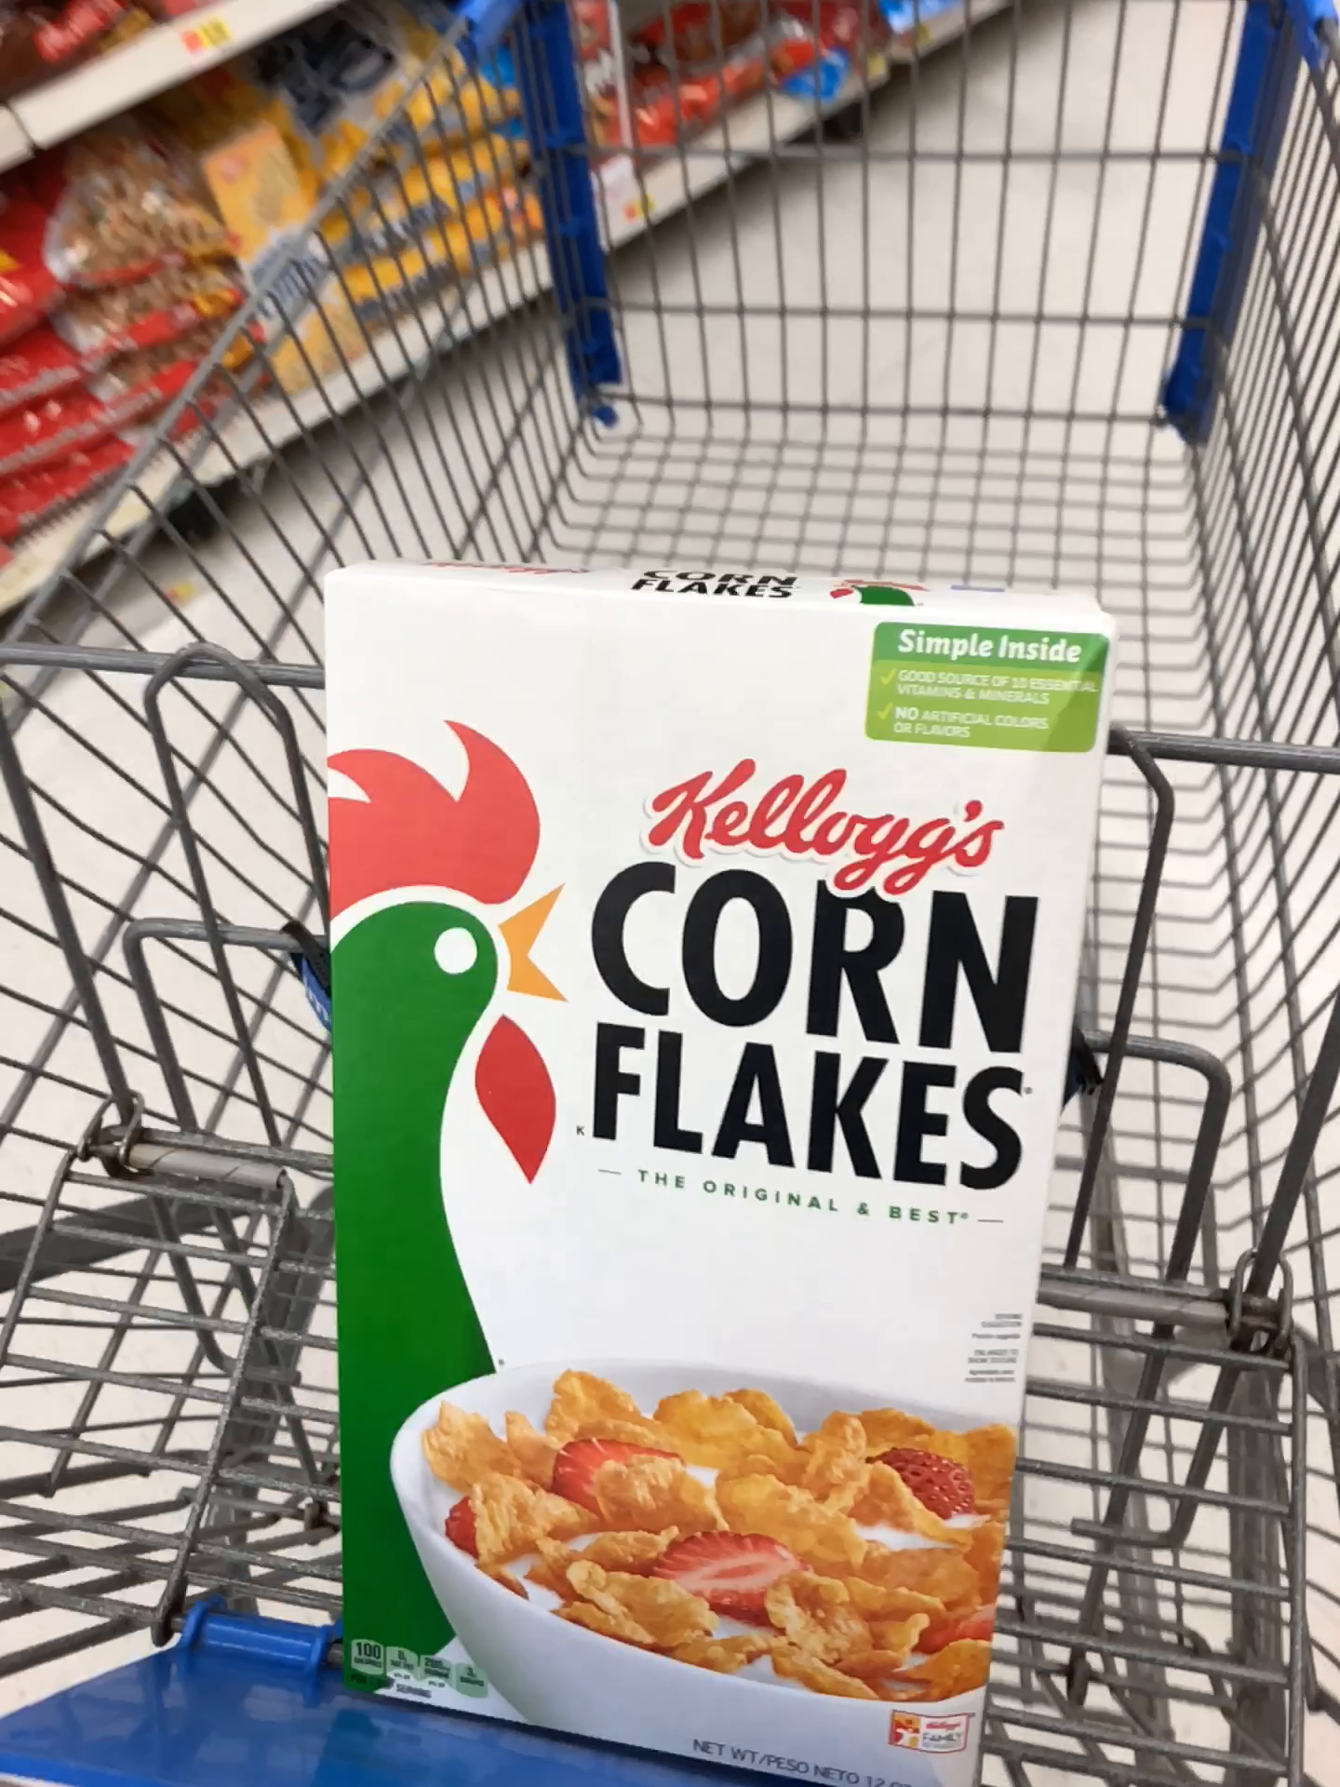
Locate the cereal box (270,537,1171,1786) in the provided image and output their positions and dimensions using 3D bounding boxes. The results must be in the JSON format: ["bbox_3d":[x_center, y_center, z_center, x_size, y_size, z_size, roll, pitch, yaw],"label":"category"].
[{"bbox_3d":[0.006,0.080,0.419,0.210,0.340,0.070,5,16,11],"label":"cereal box"}]
